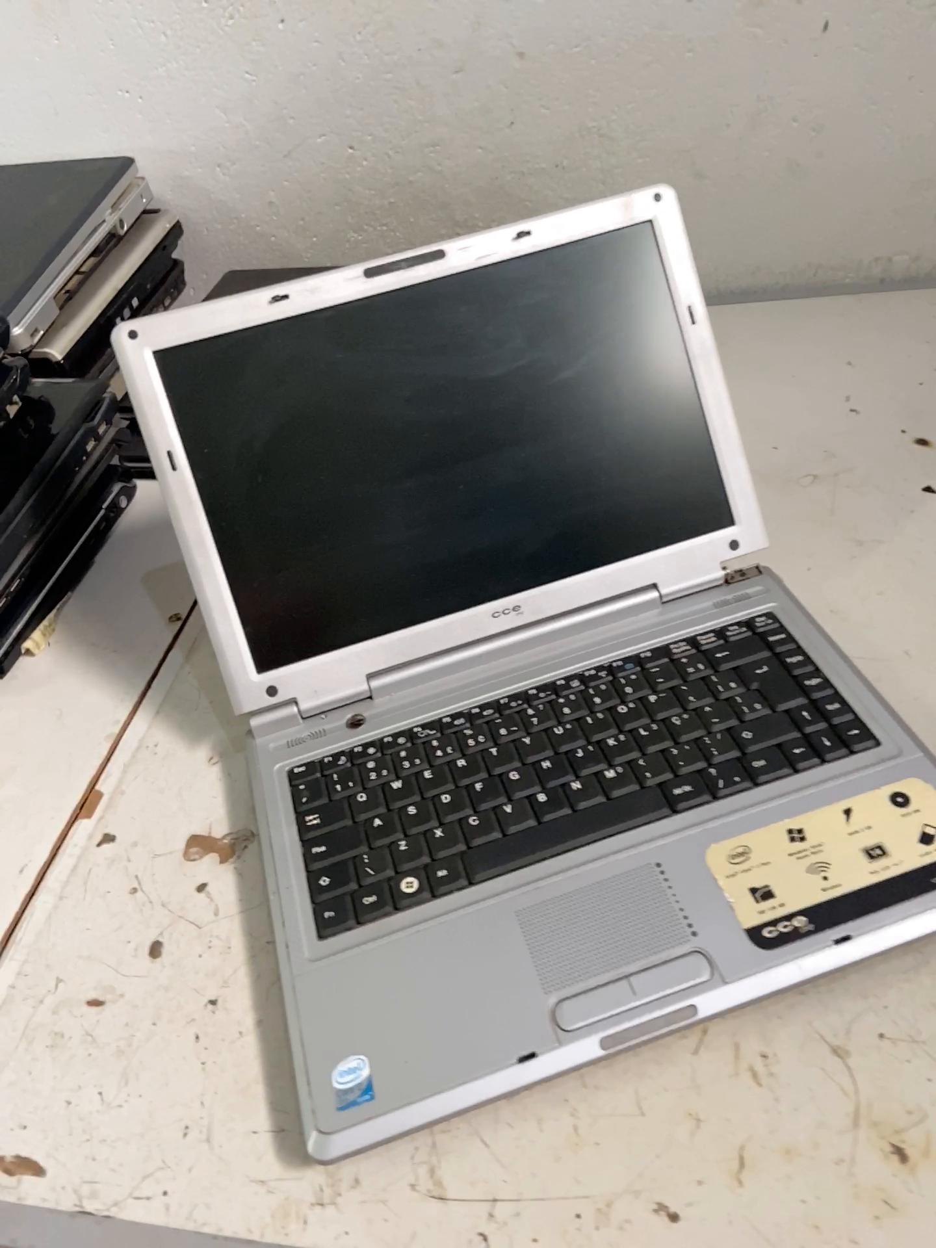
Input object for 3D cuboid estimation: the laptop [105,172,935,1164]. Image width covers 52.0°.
[{"bbox_3d":[0.026,-0.025,0.484,0.338,0.190,0.389,-18,45,-7],"label":"laptop"}]
